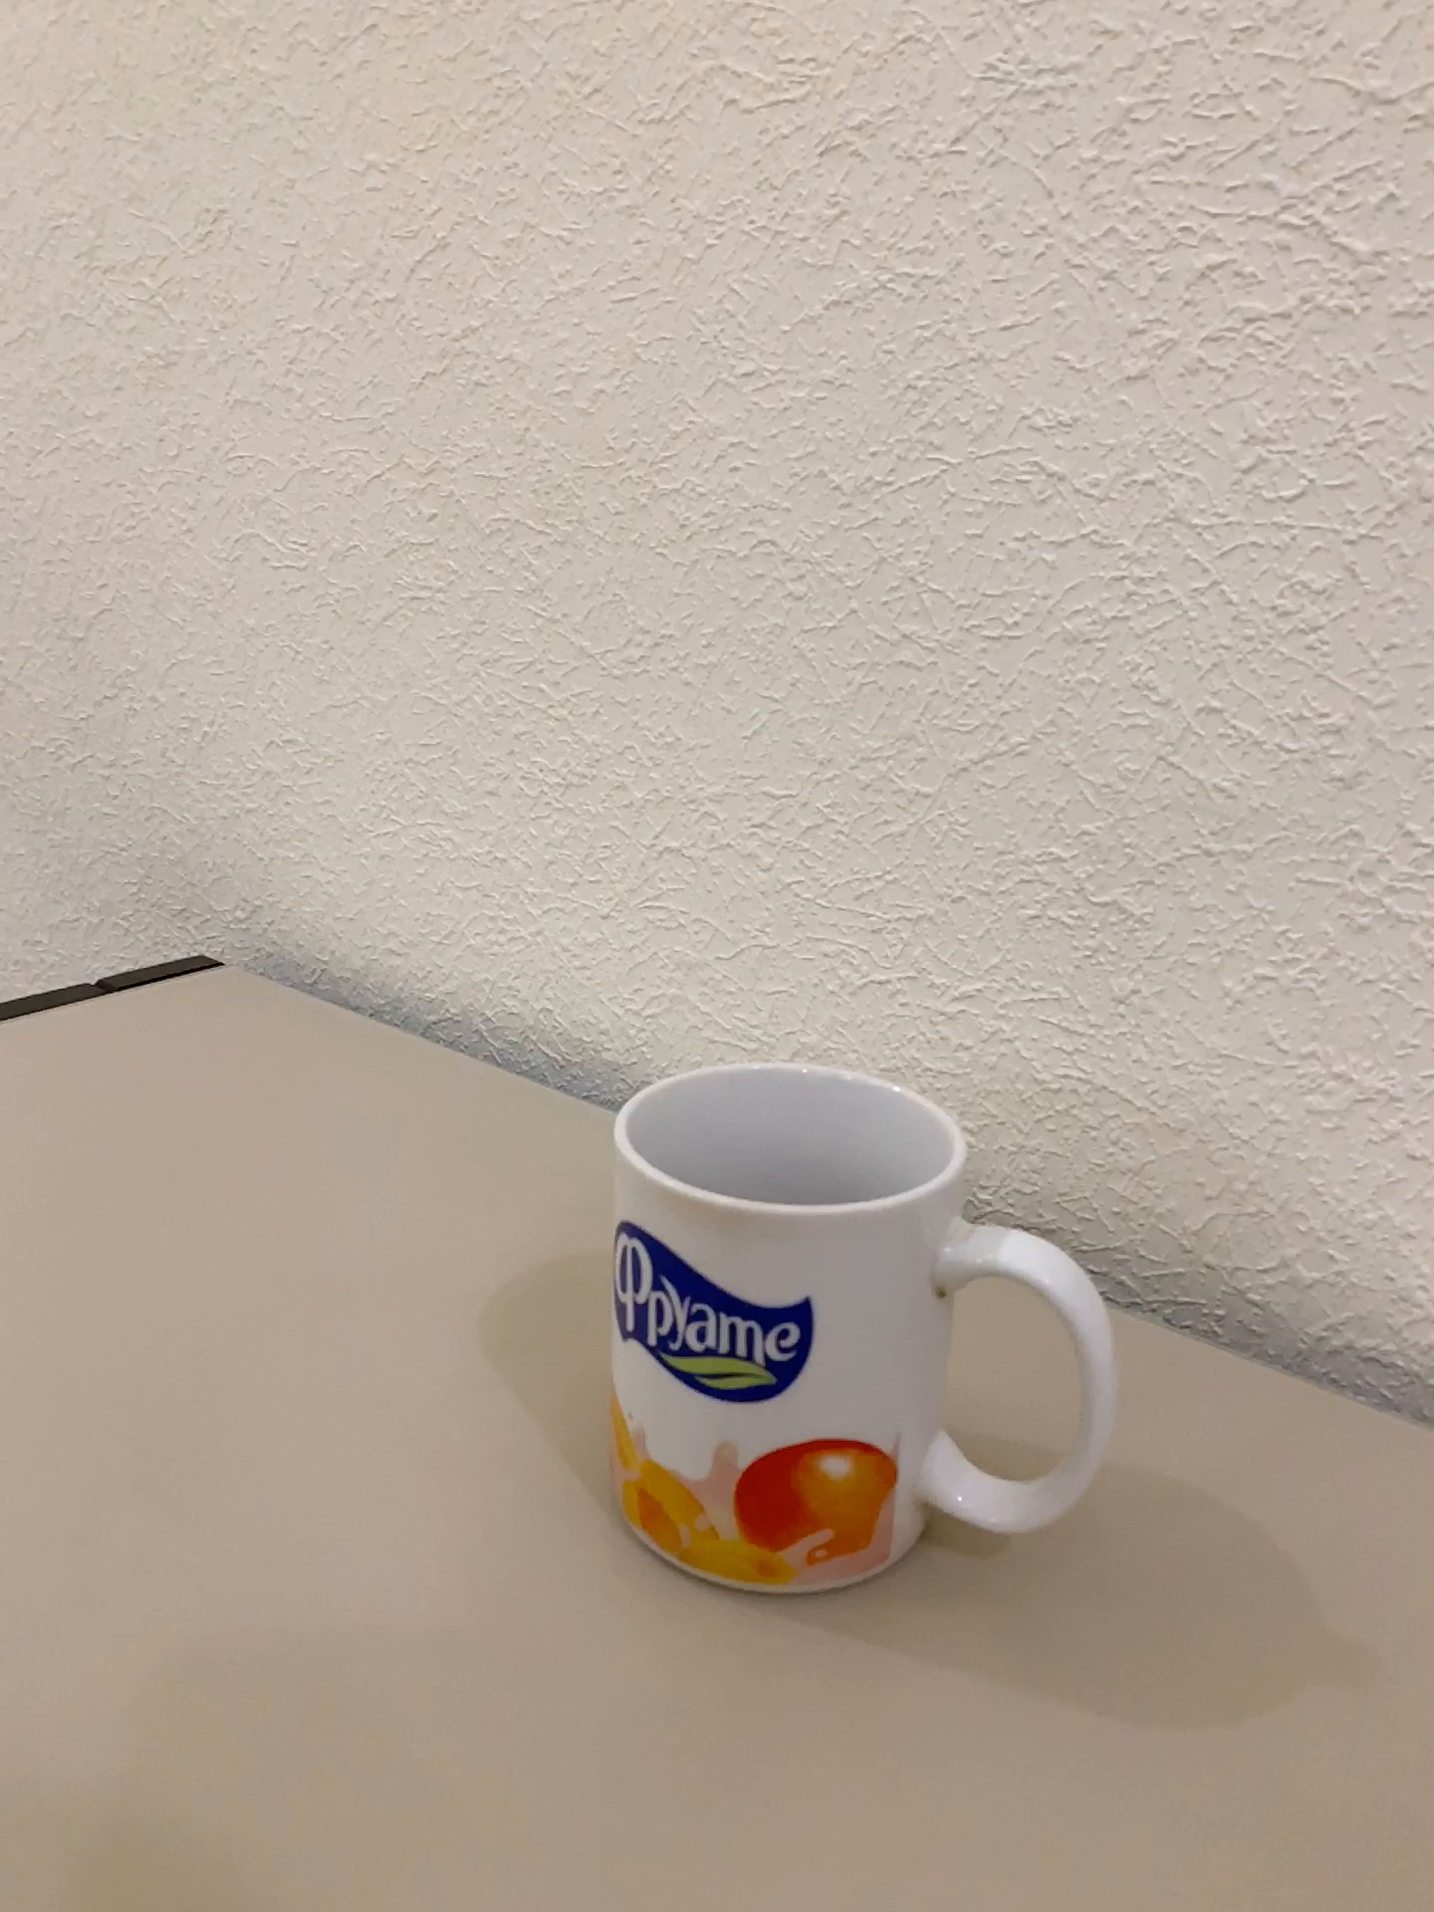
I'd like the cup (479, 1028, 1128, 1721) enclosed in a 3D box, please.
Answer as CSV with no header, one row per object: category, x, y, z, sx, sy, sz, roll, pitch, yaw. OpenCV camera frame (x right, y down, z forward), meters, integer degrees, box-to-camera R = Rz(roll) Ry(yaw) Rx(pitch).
cup,0.019,0.083,0.329,0.116,0.092,0.081,11,19,25
